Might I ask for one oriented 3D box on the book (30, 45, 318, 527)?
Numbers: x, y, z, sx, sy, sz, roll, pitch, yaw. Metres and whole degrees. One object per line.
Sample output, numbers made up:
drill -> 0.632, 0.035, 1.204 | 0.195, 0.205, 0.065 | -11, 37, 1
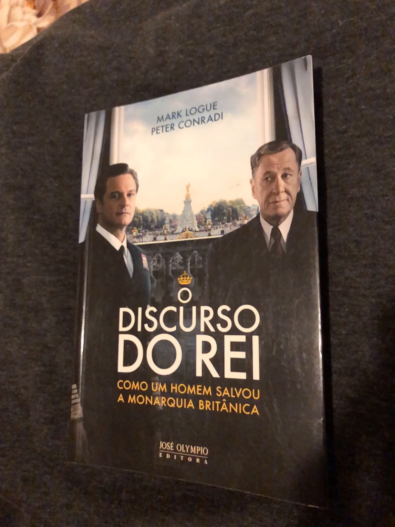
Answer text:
book -> -0.017, 0.007, 0.256 | 0.160, 0.030, 0.230 | -4, 79, 26
